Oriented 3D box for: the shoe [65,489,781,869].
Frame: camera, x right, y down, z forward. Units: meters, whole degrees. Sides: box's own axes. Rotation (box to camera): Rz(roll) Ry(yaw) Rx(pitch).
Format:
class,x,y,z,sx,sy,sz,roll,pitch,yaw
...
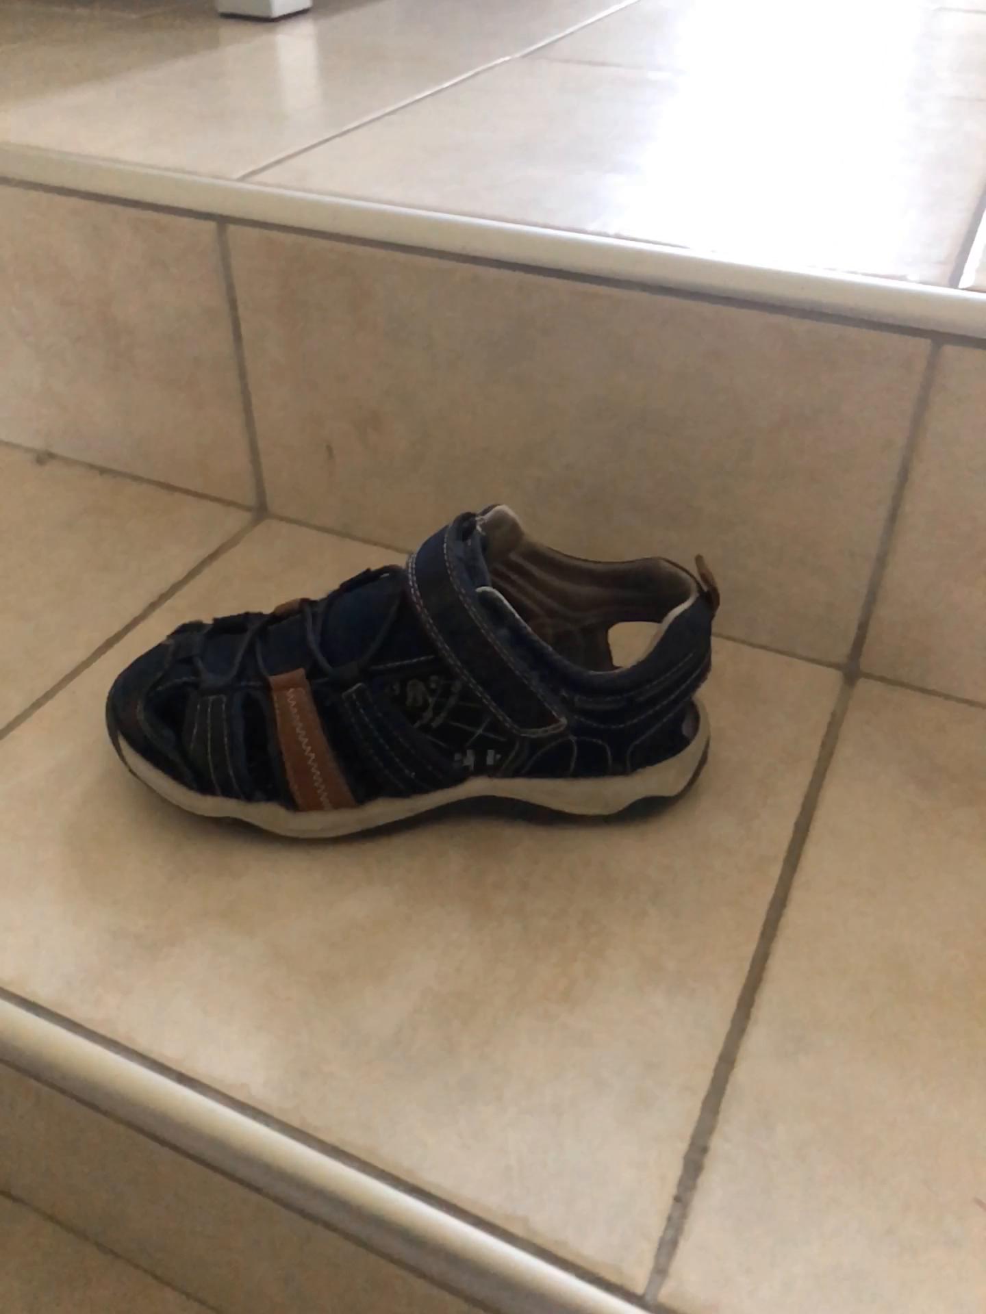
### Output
class,x,y,z,sx,sy,sz,roll,pitch,yaw
shoe,-0.022,0.007,0.399,0.220,0.099,0.091,-1,39,-1
